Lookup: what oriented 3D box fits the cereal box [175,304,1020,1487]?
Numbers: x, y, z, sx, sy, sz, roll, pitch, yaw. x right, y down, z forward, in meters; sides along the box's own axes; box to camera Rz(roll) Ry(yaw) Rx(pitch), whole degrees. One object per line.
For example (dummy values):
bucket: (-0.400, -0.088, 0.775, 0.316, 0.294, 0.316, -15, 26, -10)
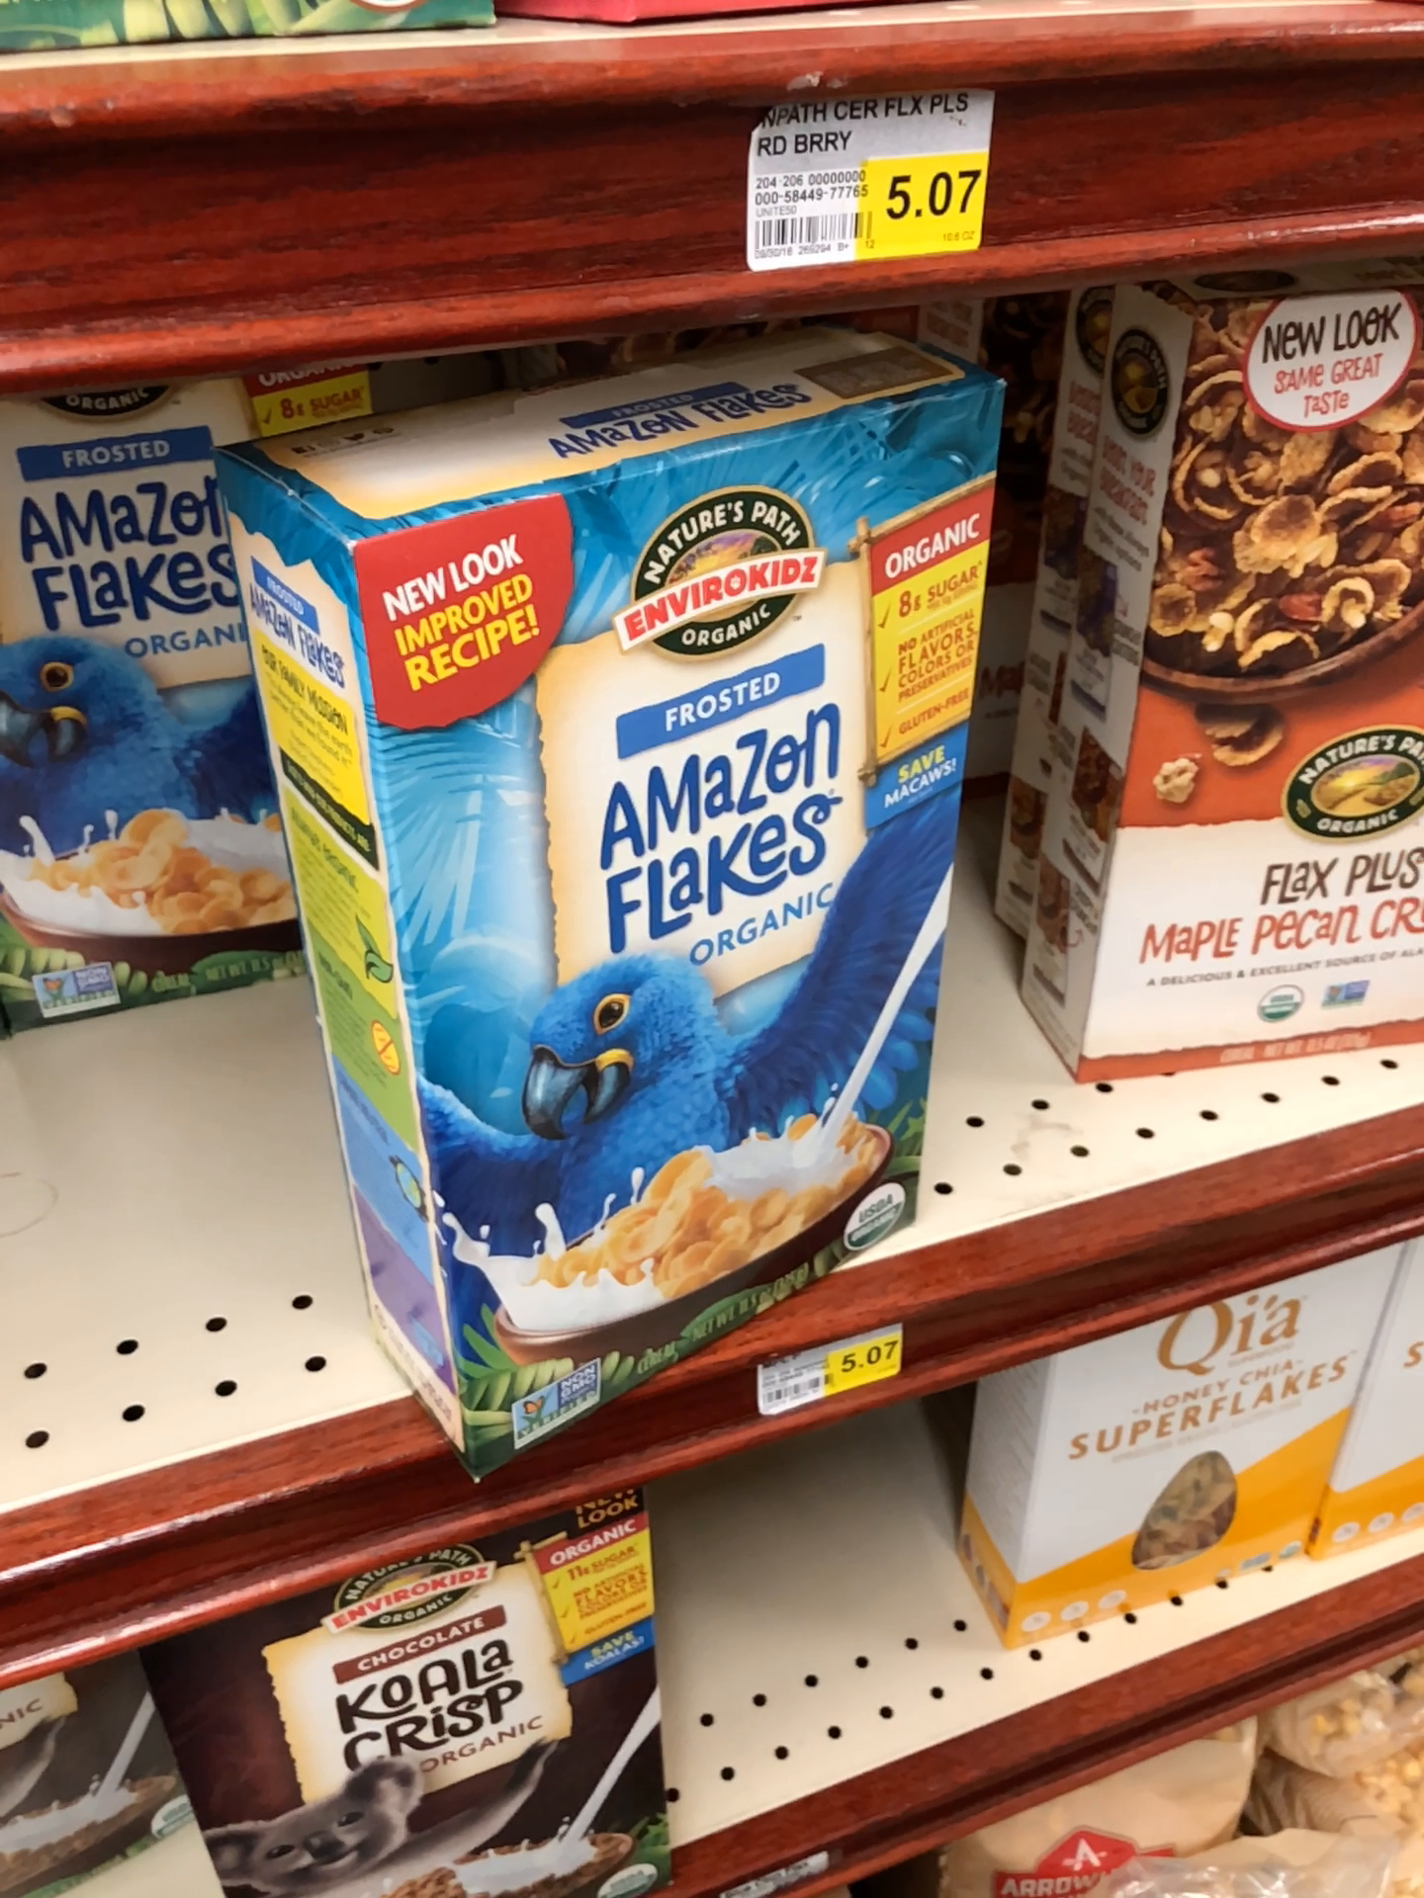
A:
cereal box: (-0.019, -0.005, 0.393, 0.160, 0.259, 0.060, -24, 44, -28)
